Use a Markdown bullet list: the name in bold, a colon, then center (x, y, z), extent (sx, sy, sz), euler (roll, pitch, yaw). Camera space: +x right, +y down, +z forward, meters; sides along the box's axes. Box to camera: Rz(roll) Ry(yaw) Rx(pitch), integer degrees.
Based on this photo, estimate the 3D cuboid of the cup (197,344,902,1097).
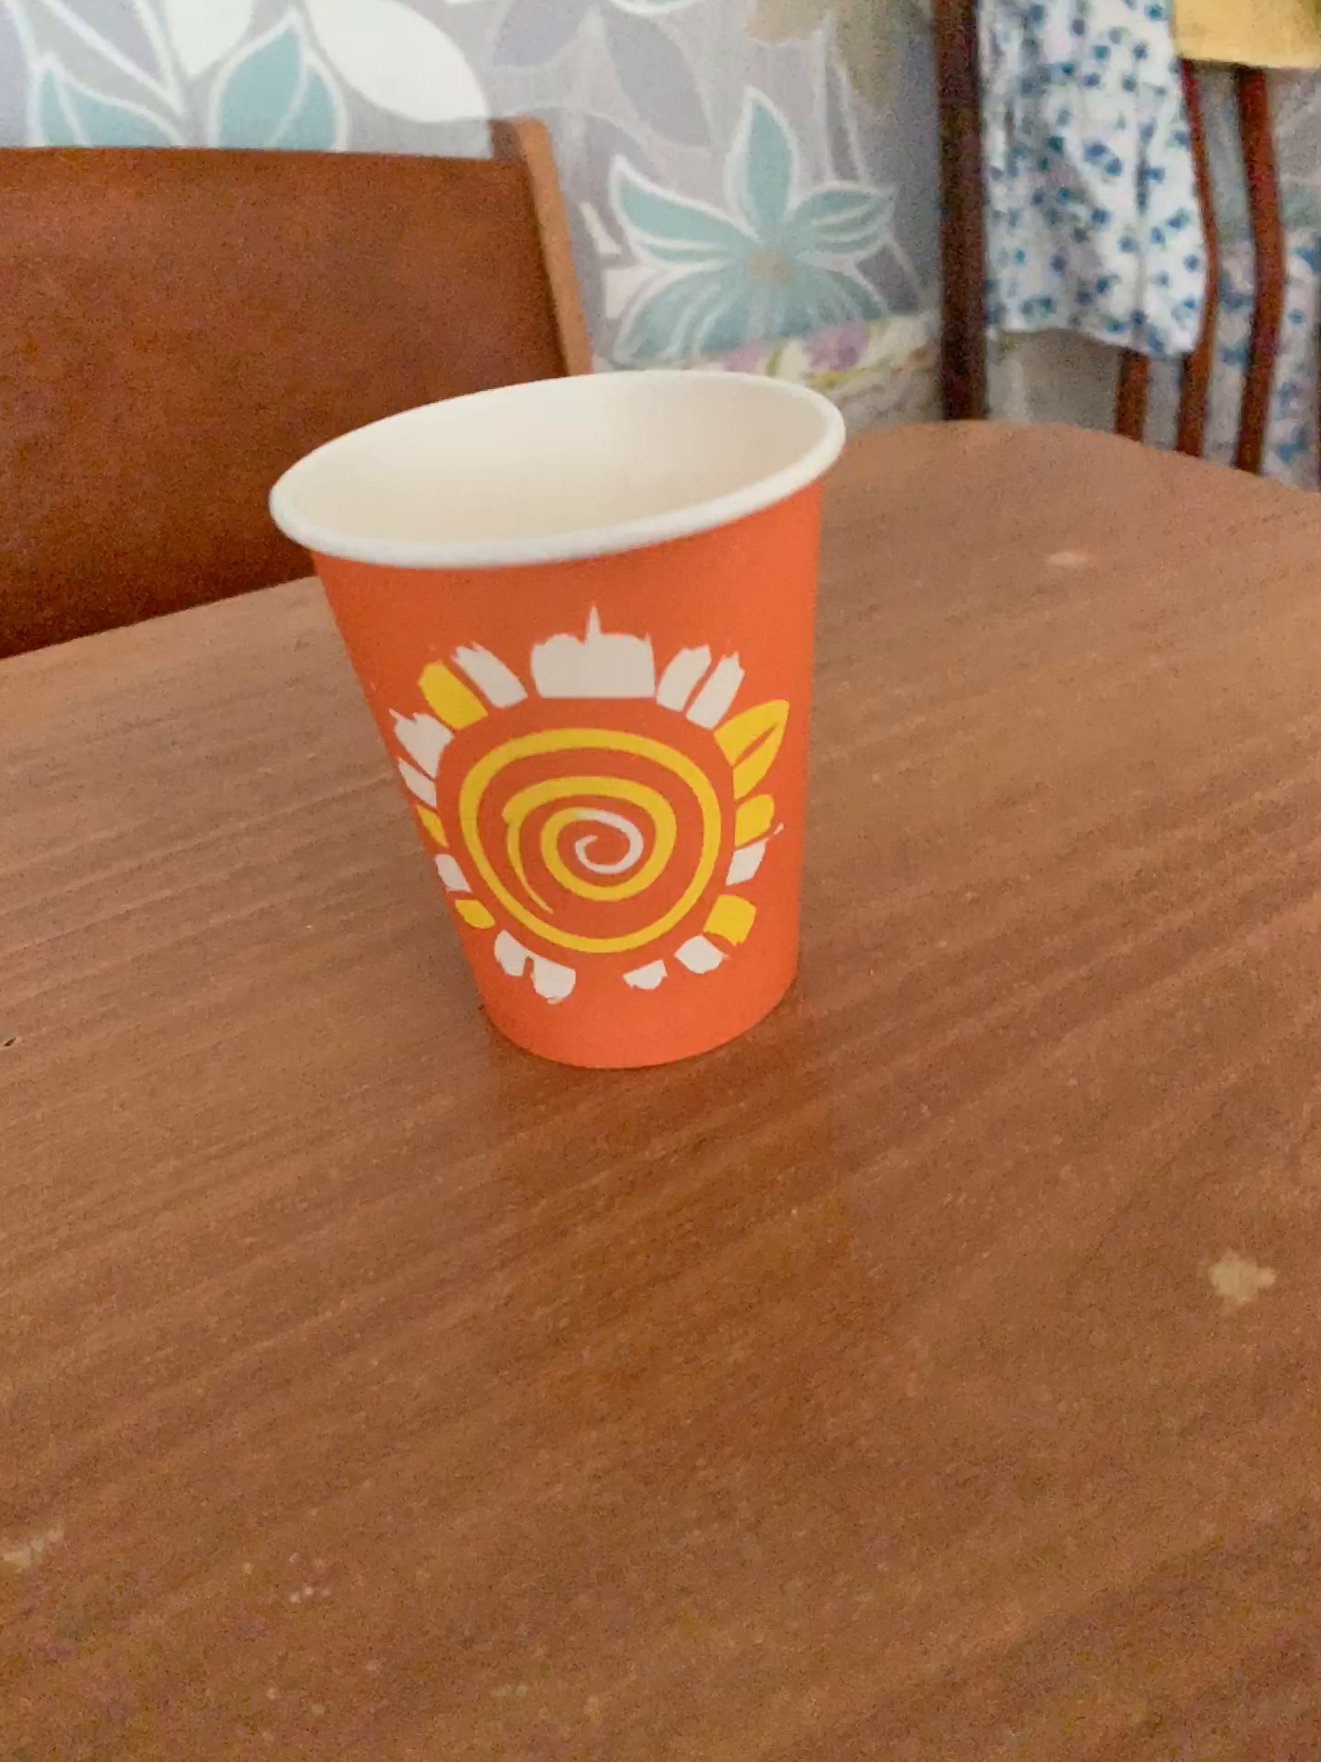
- **cup**: center (-0.009, -0.027, 0.213), extent (0.081, 0.083, 0.079), euler (-5, 33, 3)
